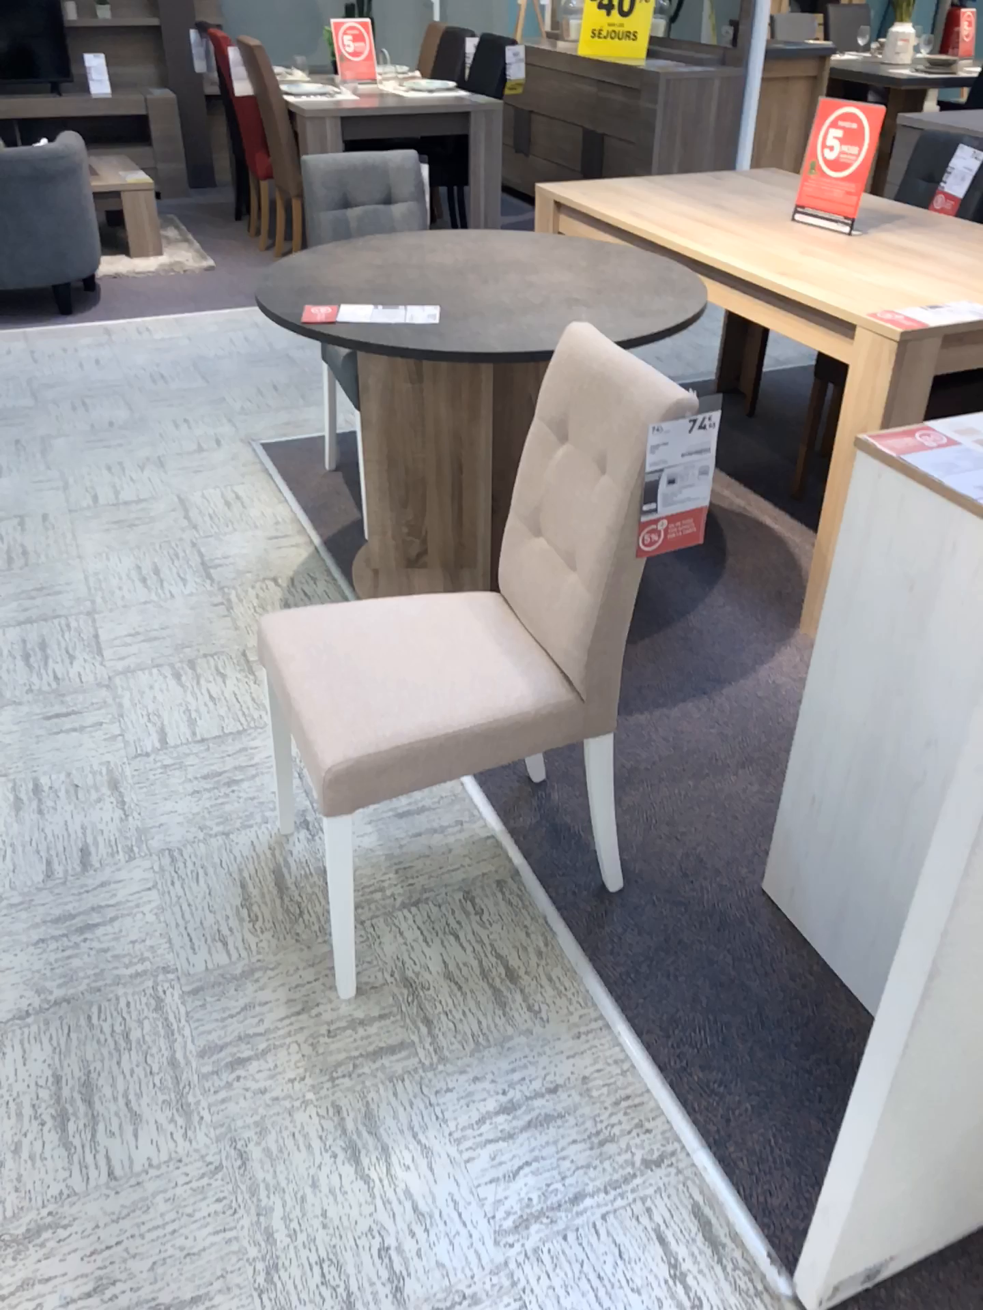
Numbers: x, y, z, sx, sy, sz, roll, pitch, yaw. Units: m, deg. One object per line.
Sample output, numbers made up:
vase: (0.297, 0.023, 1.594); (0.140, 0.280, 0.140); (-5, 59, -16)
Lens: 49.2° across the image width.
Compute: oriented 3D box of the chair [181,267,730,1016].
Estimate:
chair: (-0.068, -0.028, 1.496); (0.531, 0.855, 0.432); (-12, 35, -19)
